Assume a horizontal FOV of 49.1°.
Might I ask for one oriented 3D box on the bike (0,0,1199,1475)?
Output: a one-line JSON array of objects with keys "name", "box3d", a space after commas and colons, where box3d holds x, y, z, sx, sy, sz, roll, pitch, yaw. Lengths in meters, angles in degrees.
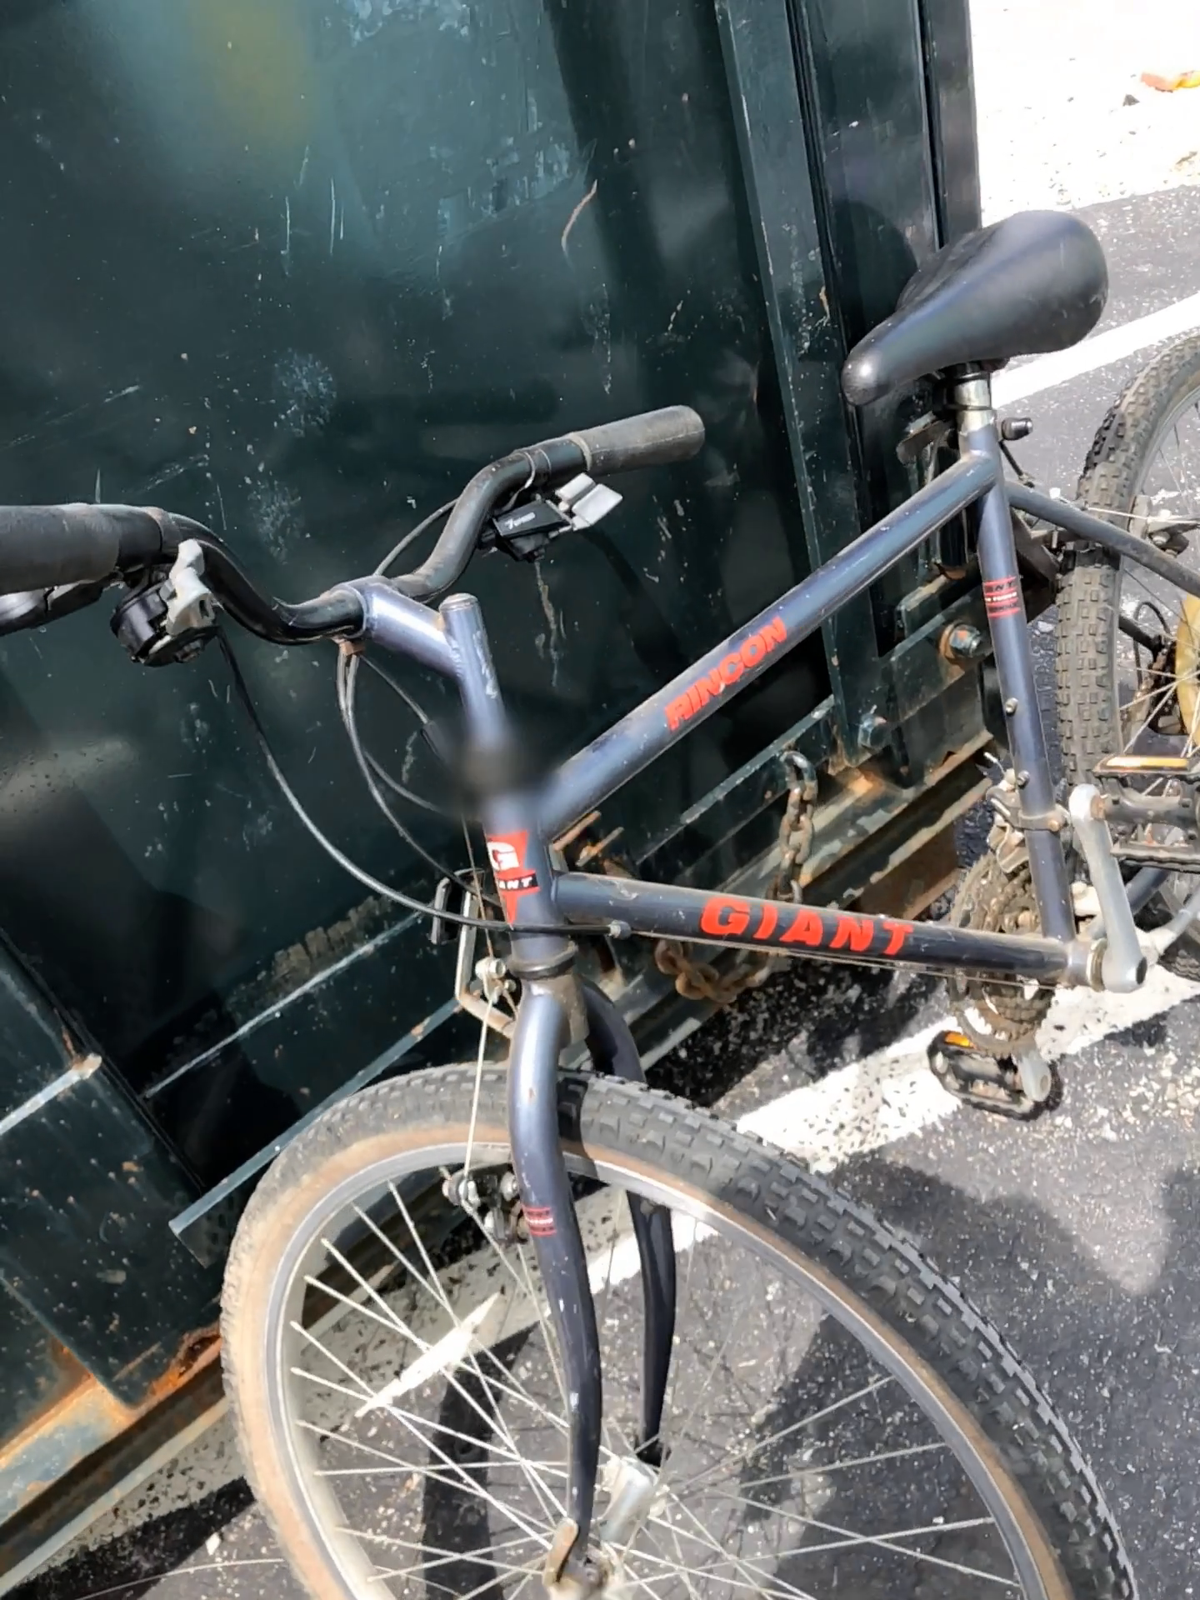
[{"name": "bike", "box3d": [-0.013, -0.128, 1.137, 1.099, 0.832, 0.637, -31, 43, -20]}]
